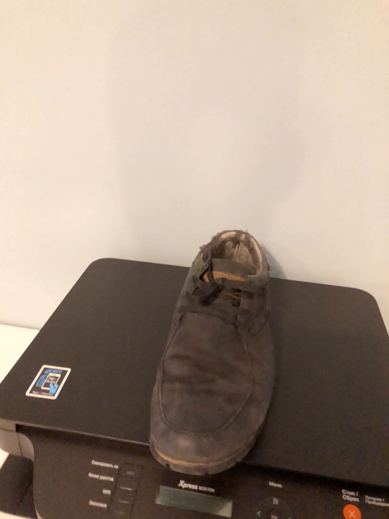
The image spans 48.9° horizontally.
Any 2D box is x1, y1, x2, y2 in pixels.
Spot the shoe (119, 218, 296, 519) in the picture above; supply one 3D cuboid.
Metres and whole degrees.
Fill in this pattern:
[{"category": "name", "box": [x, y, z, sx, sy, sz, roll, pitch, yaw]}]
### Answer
[{"category": "shoe", "box": [0.032, 0.073, 0.423, 0.110, 0.109, 0.282, 9, 31, 10]}]
